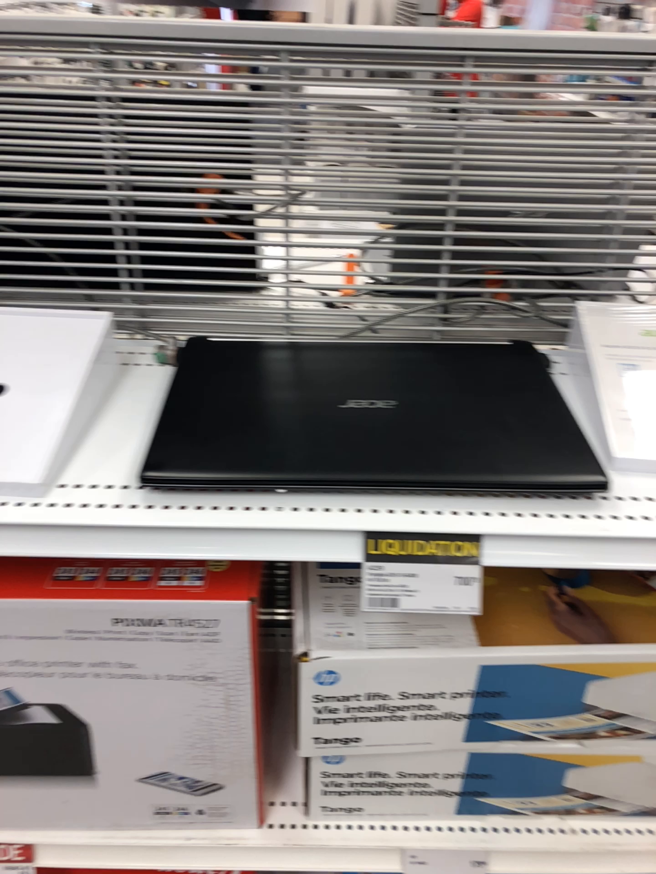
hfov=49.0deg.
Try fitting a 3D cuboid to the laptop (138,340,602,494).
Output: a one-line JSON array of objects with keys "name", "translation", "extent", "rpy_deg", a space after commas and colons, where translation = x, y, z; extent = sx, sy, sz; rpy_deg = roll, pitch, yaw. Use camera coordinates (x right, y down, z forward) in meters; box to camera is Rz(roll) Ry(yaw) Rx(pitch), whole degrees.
[{"name": "laptop", "translation": [0.035, -0.027, 0.654], "extent": [0.361, 0.012, 0.228], "rpy_deg": [1, 35, -2]}]
